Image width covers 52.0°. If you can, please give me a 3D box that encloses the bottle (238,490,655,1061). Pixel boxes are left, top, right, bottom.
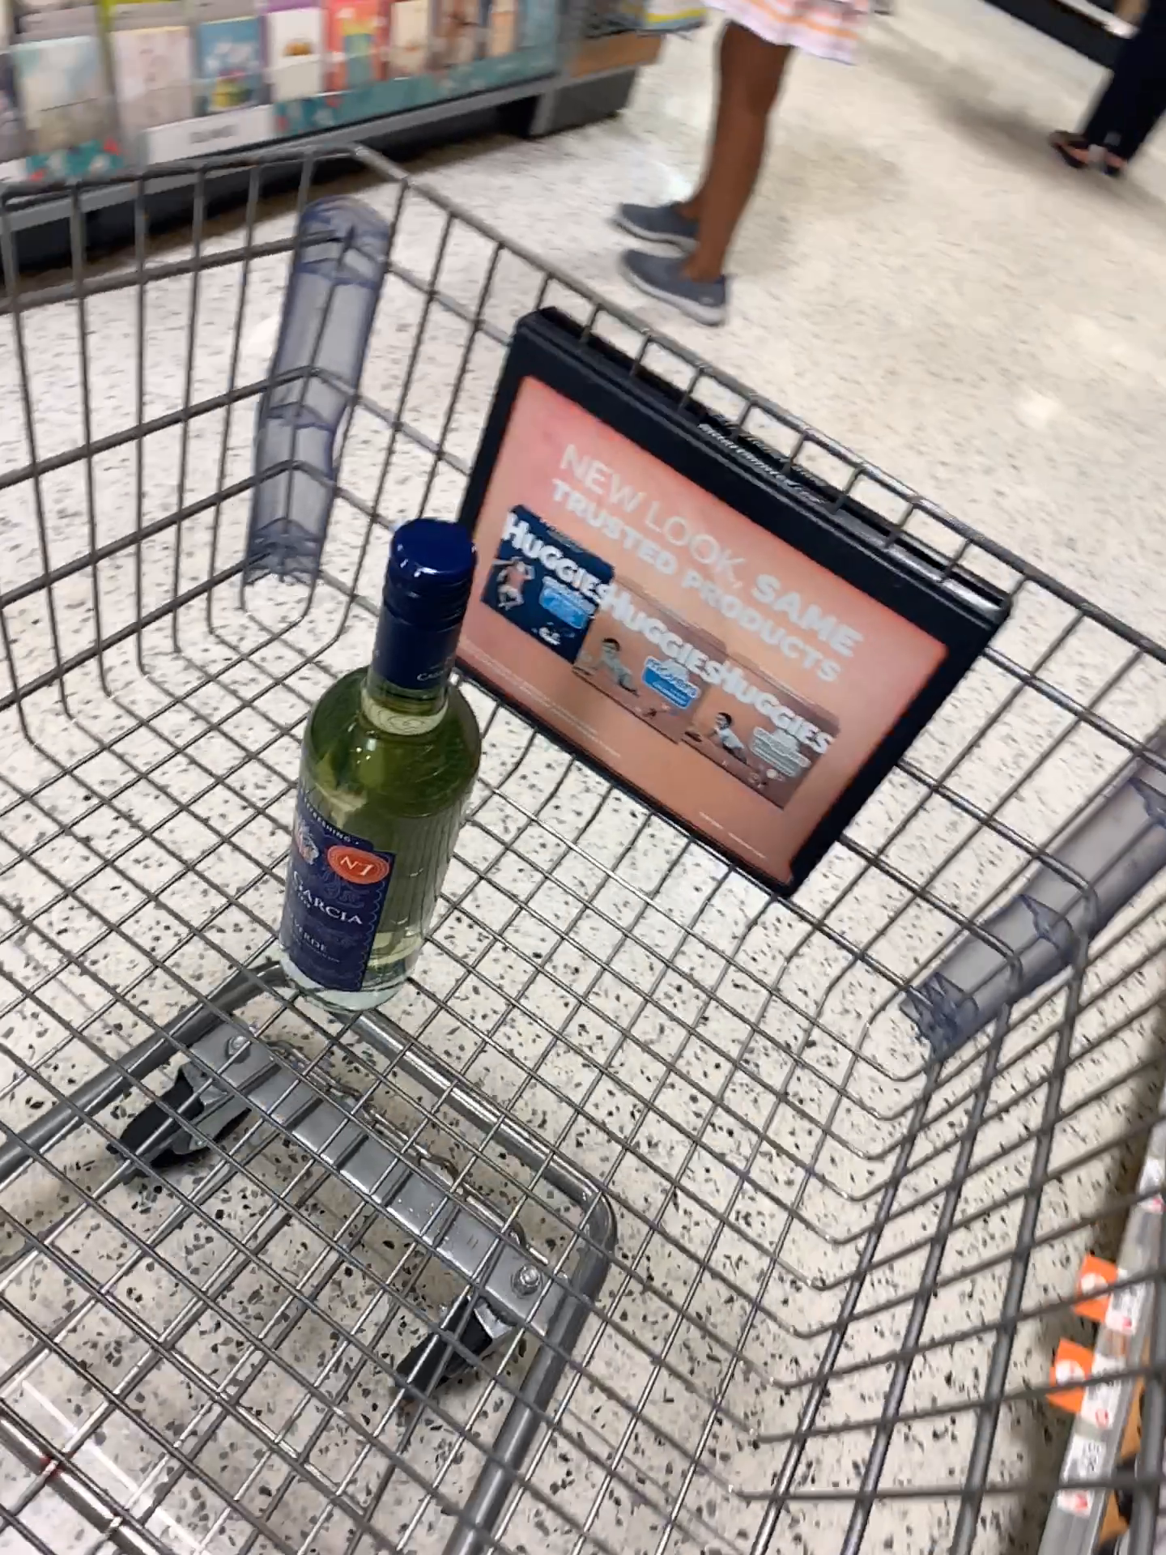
[{"bbox_3d":[-0.077,0.014,0.532,0.080,0.277,0.090,-23,67,-36],"label":"bottle"}]
